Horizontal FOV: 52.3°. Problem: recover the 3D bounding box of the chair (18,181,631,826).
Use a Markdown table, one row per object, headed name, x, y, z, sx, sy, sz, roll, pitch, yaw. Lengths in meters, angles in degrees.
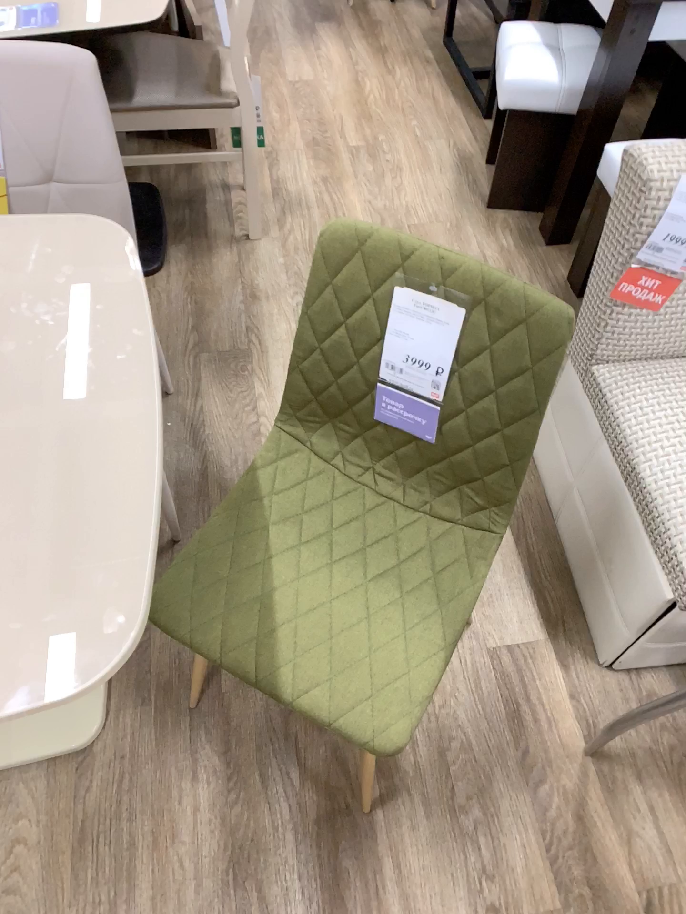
| name | x | y | z | sx | sy | sz | roll | pitch | yaw |
| --- | --- | --- | --- | --- | --- | --- | --- | --- | --- |
| chair | 0.002 | 0.138 | 1.154 | 0.500 | 0.837 | 0.562 | 25 | 58 | 15 |
